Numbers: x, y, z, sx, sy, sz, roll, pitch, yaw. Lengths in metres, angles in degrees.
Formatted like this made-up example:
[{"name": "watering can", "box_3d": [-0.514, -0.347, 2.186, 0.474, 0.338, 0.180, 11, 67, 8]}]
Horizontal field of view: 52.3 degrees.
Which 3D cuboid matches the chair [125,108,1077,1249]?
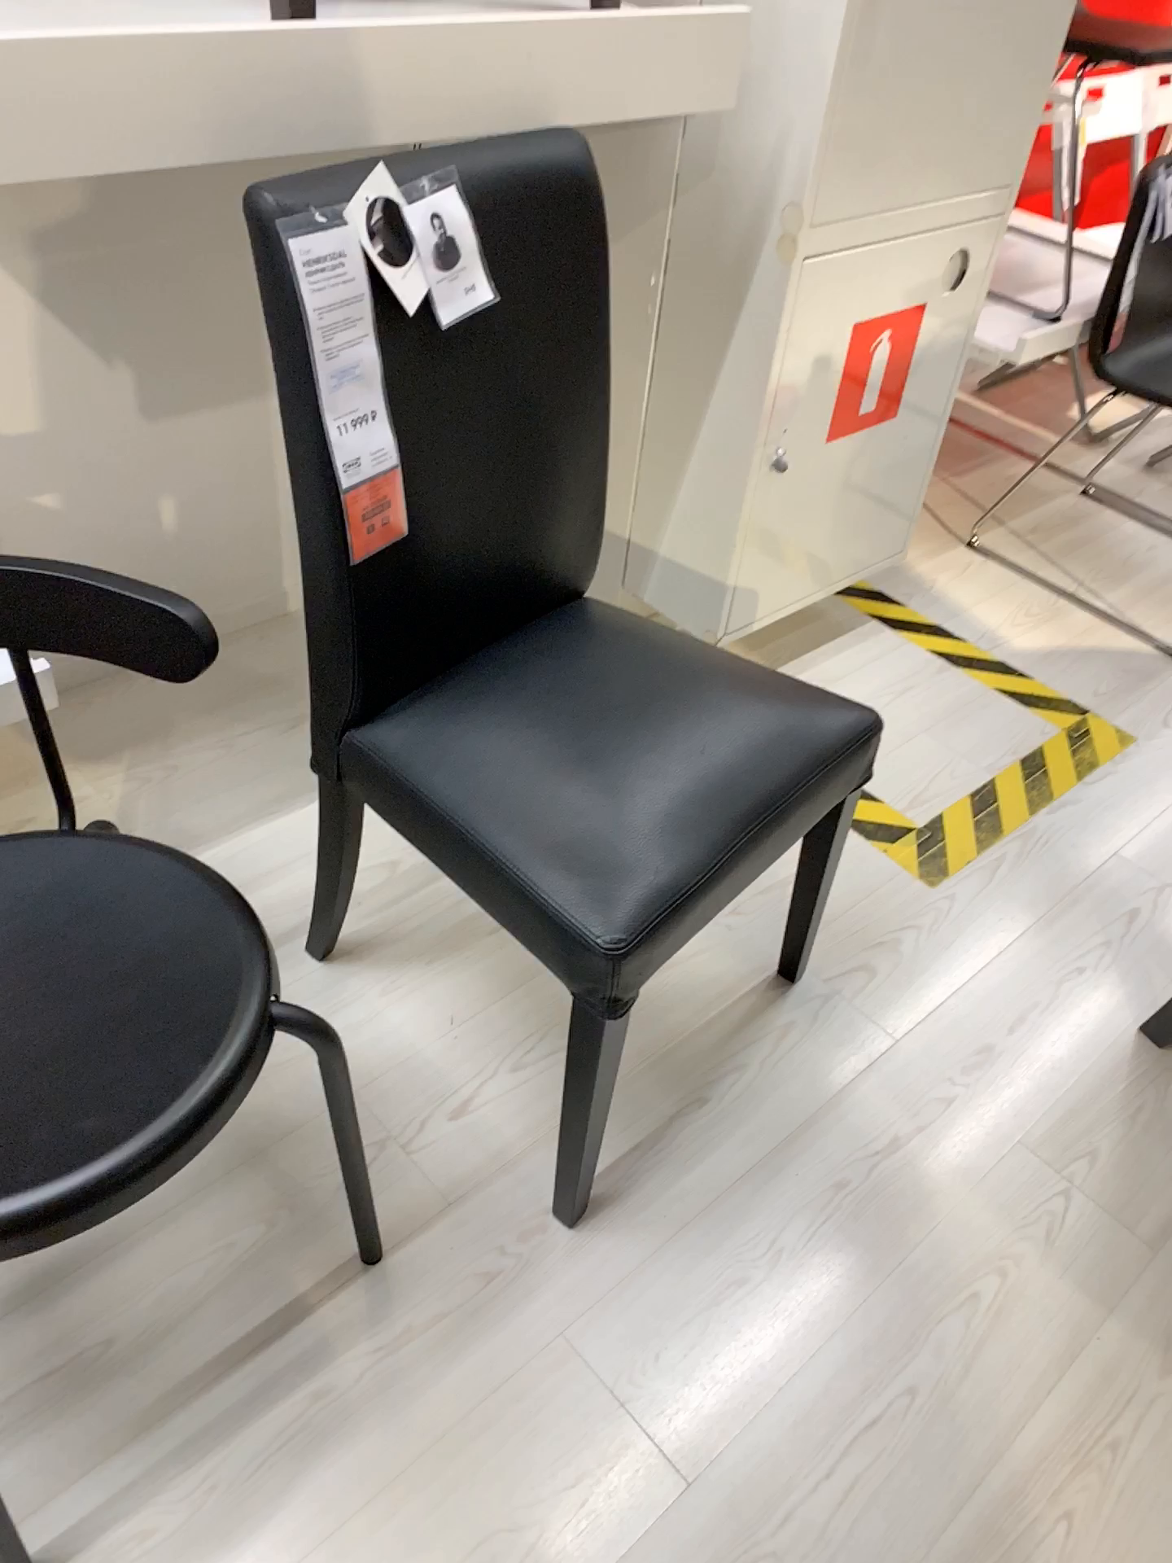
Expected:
[{"name": "chair", "box_3d": [-0.014, -0.117, 1.348, 0.601, 0.975, 0.582, 31, 45, 25]}]
